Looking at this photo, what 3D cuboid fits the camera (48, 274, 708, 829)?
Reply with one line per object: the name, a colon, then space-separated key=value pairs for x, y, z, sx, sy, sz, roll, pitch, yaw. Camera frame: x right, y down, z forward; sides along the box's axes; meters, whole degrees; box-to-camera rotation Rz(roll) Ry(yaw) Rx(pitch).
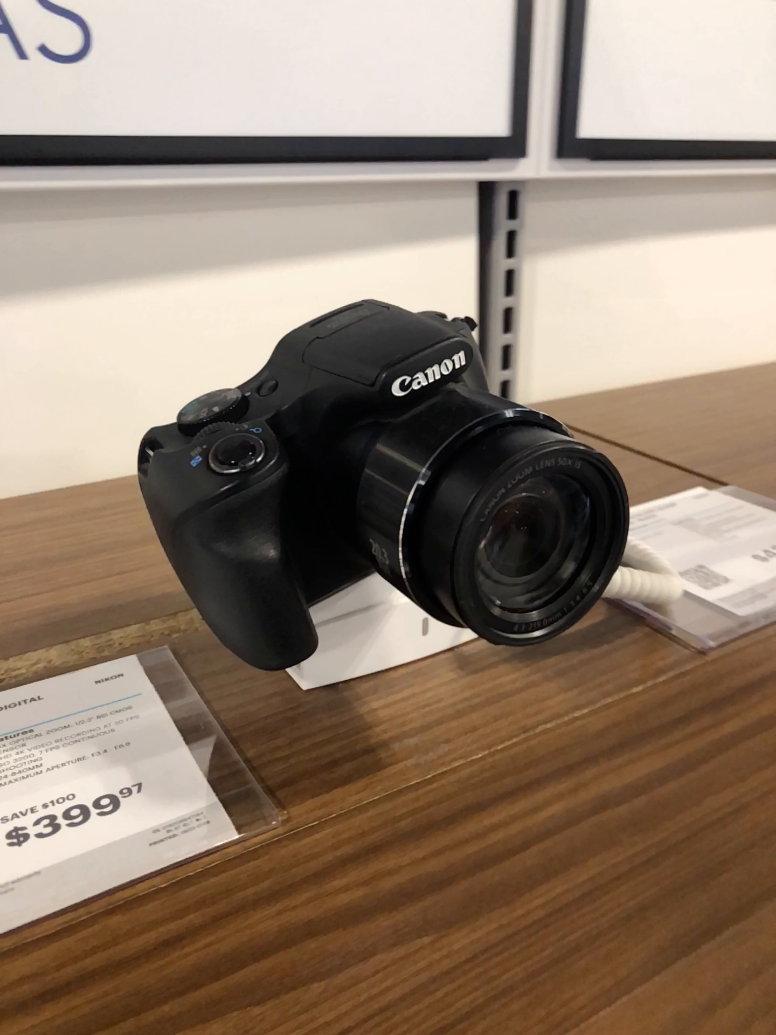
camera: x=-0.008 y=-0.010 z=0.257 sx=0.130 sy=0.070 sz=0.141 roll=-30 pitch=32 yaw=-23
